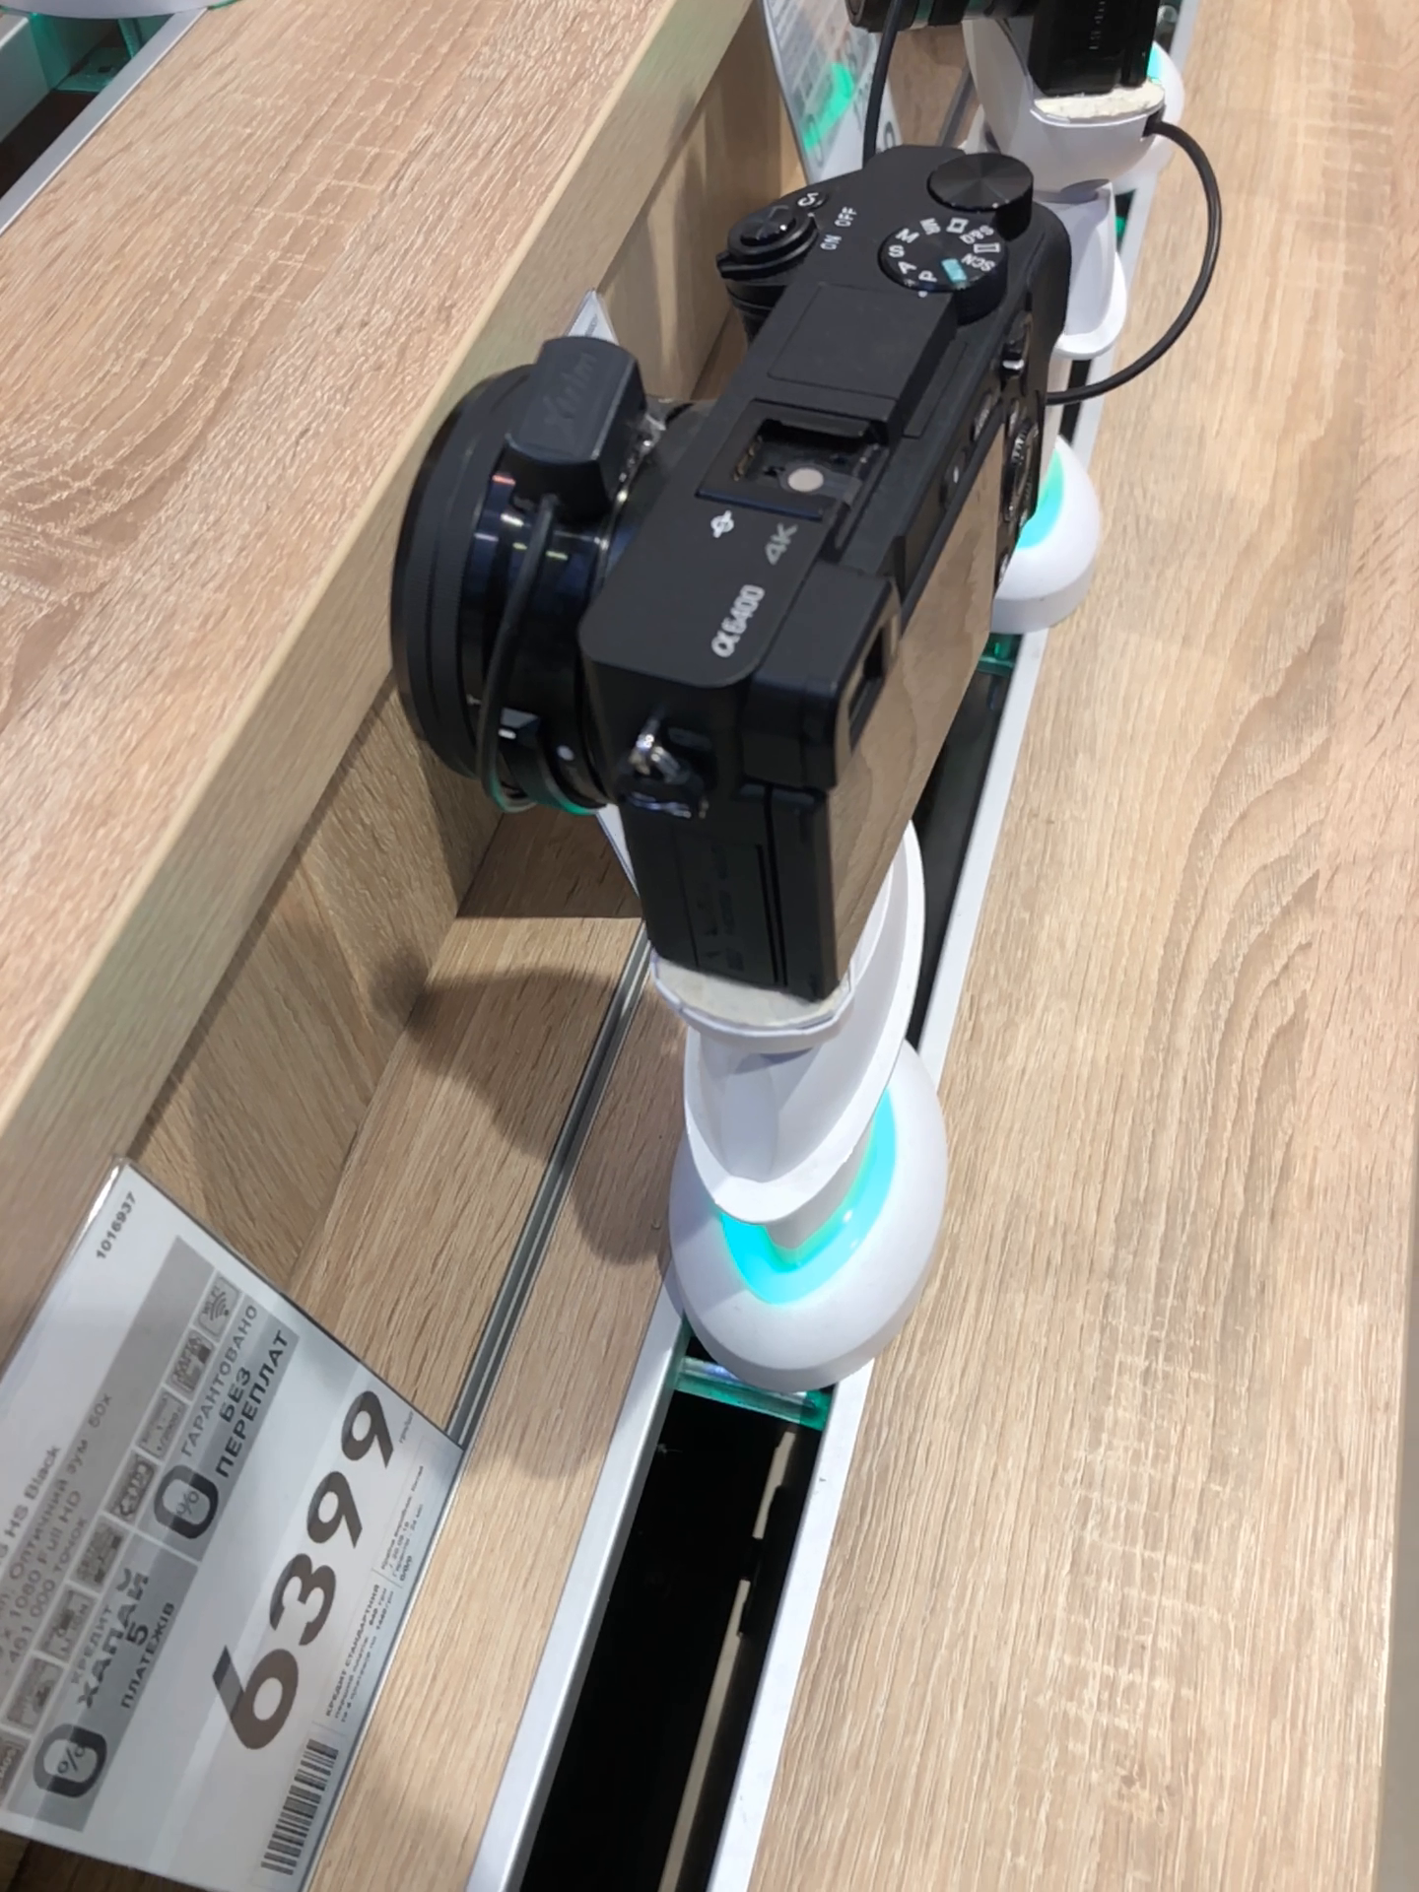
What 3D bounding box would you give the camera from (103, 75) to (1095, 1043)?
[{"bbox_3d":[-0.007,-0.066,0.246,0.098,0.069,0.122,16,58,16],"label":"camera"}]
